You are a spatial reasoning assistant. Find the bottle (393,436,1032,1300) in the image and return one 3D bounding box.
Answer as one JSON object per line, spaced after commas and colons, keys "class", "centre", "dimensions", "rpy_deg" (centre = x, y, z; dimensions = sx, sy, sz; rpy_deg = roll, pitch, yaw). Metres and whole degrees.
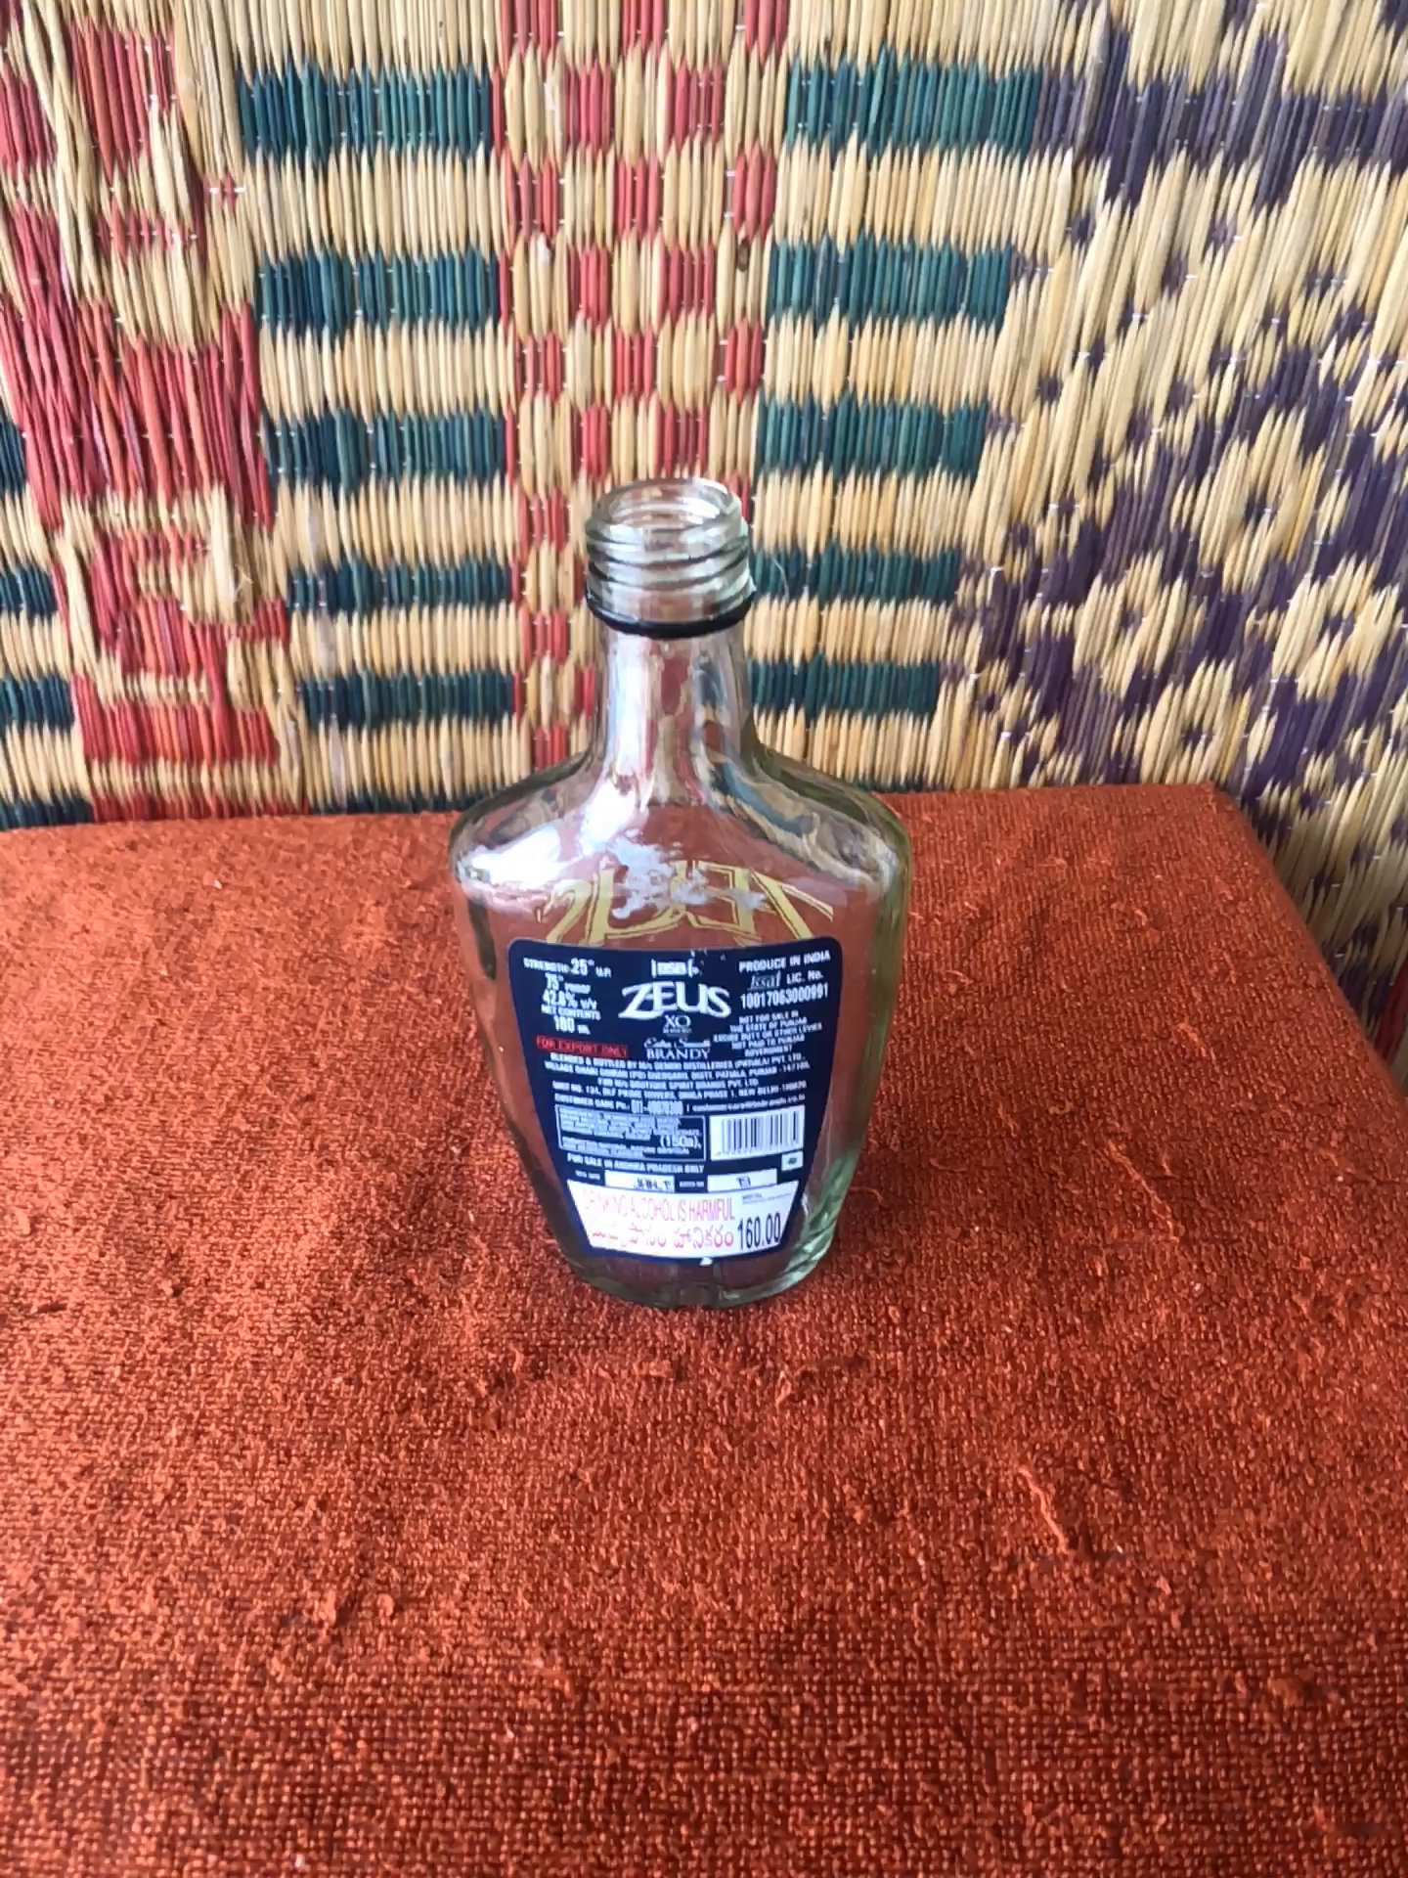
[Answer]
{"class": "bottle", "centre": [0.001, -0.003, 0.259], "dimensions": [0.080, 0.149, 0.040], "rpy_deg": [-1, 40, -1]}
